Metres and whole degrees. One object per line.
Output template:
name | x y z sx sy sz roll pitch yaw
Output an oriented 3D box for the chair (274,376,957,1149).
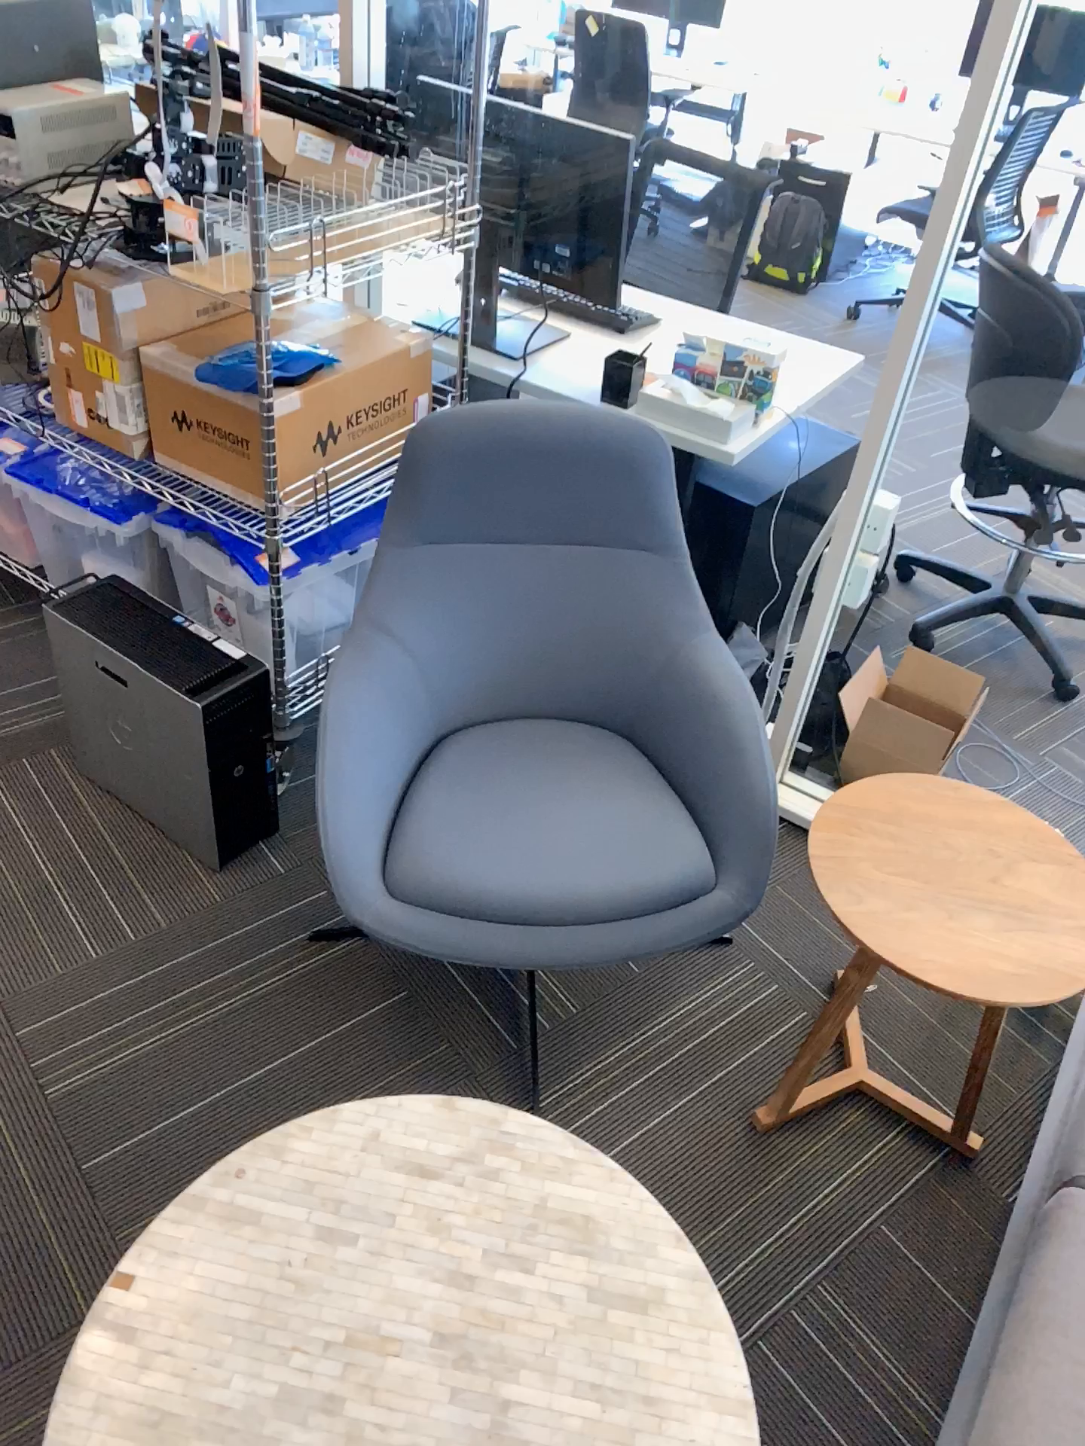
chair | 0.026 0.061 2.030 0.840 0.965 1.005 2 40 -6
